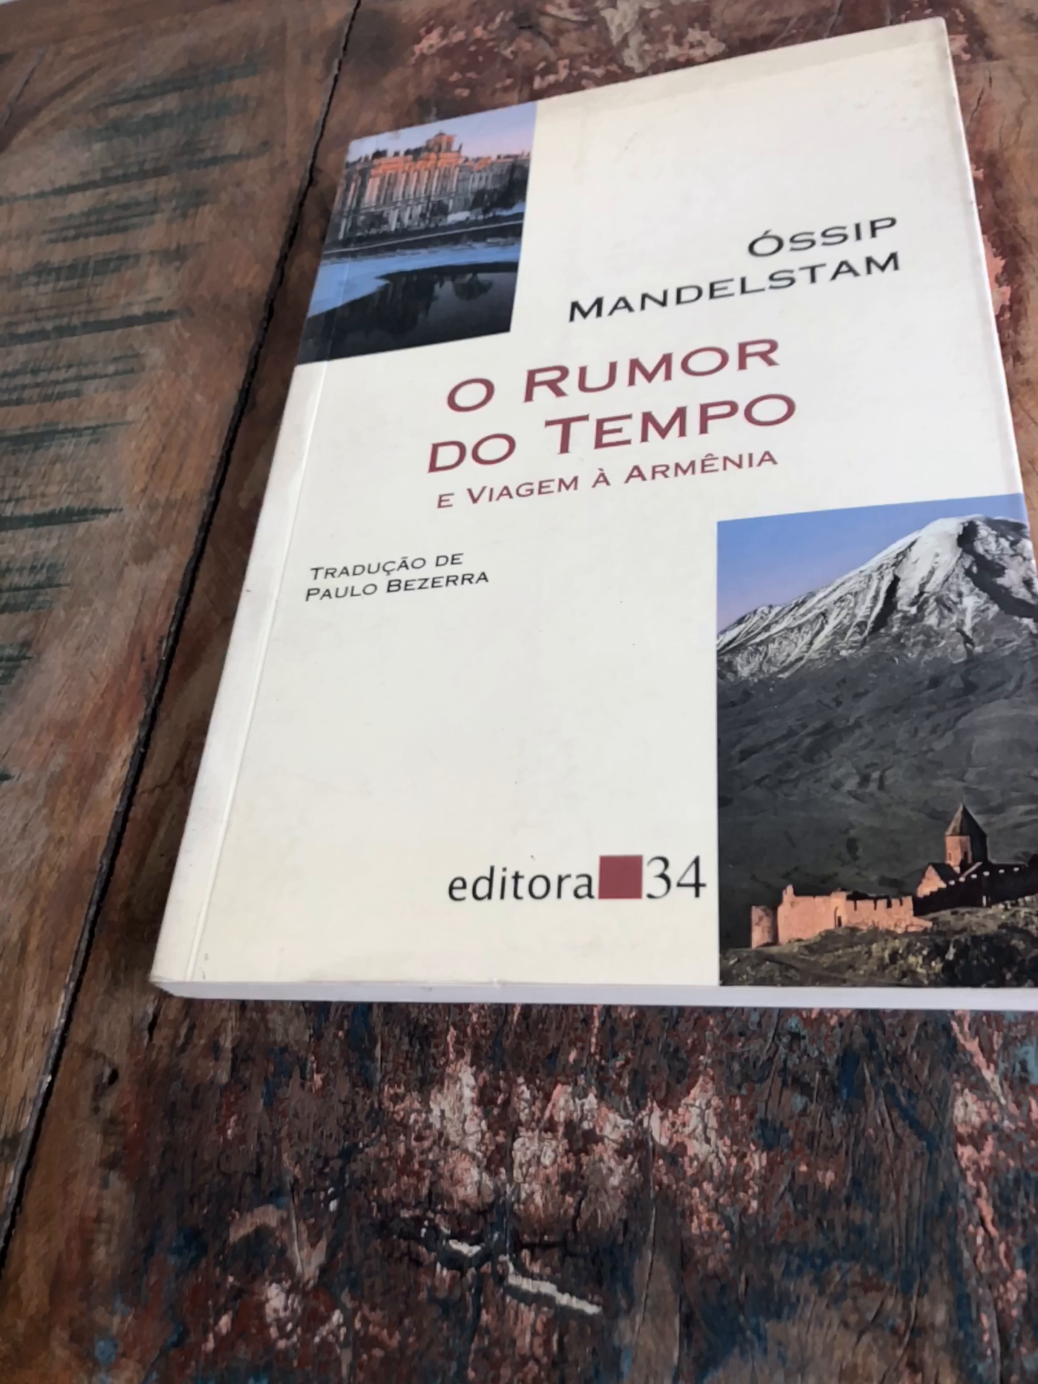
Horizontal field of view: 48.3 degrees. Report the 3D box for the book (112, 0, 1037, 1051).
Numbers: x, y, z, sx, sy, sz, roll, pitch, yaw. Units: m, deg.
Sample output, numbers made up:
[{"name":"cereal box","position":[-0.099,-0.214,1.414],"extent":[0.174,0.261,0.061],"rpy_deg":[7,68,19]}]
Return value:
[{"name":"book","position":[0.018,-0.045,0.214],"extent":[0.140,0.022,0.208],"rpy_deg":[-3,60,17]}]
